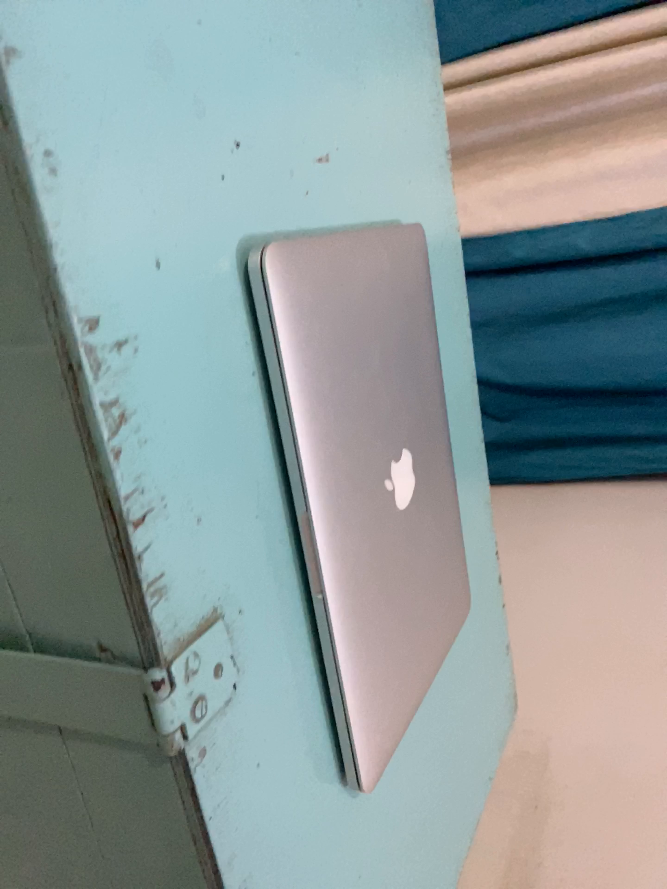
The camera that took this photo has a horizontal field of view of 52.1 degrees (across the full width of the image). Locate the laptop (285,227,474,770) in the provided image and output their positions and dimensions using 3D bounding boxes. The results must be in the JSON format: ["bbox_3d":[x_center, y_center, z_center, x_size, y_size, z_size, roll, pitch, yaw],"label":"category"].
[{"bbox_3d":[0.048,0.017,0.439,0.210,0.007,0.291,-40,124,-58],"label":"laptop"}]
